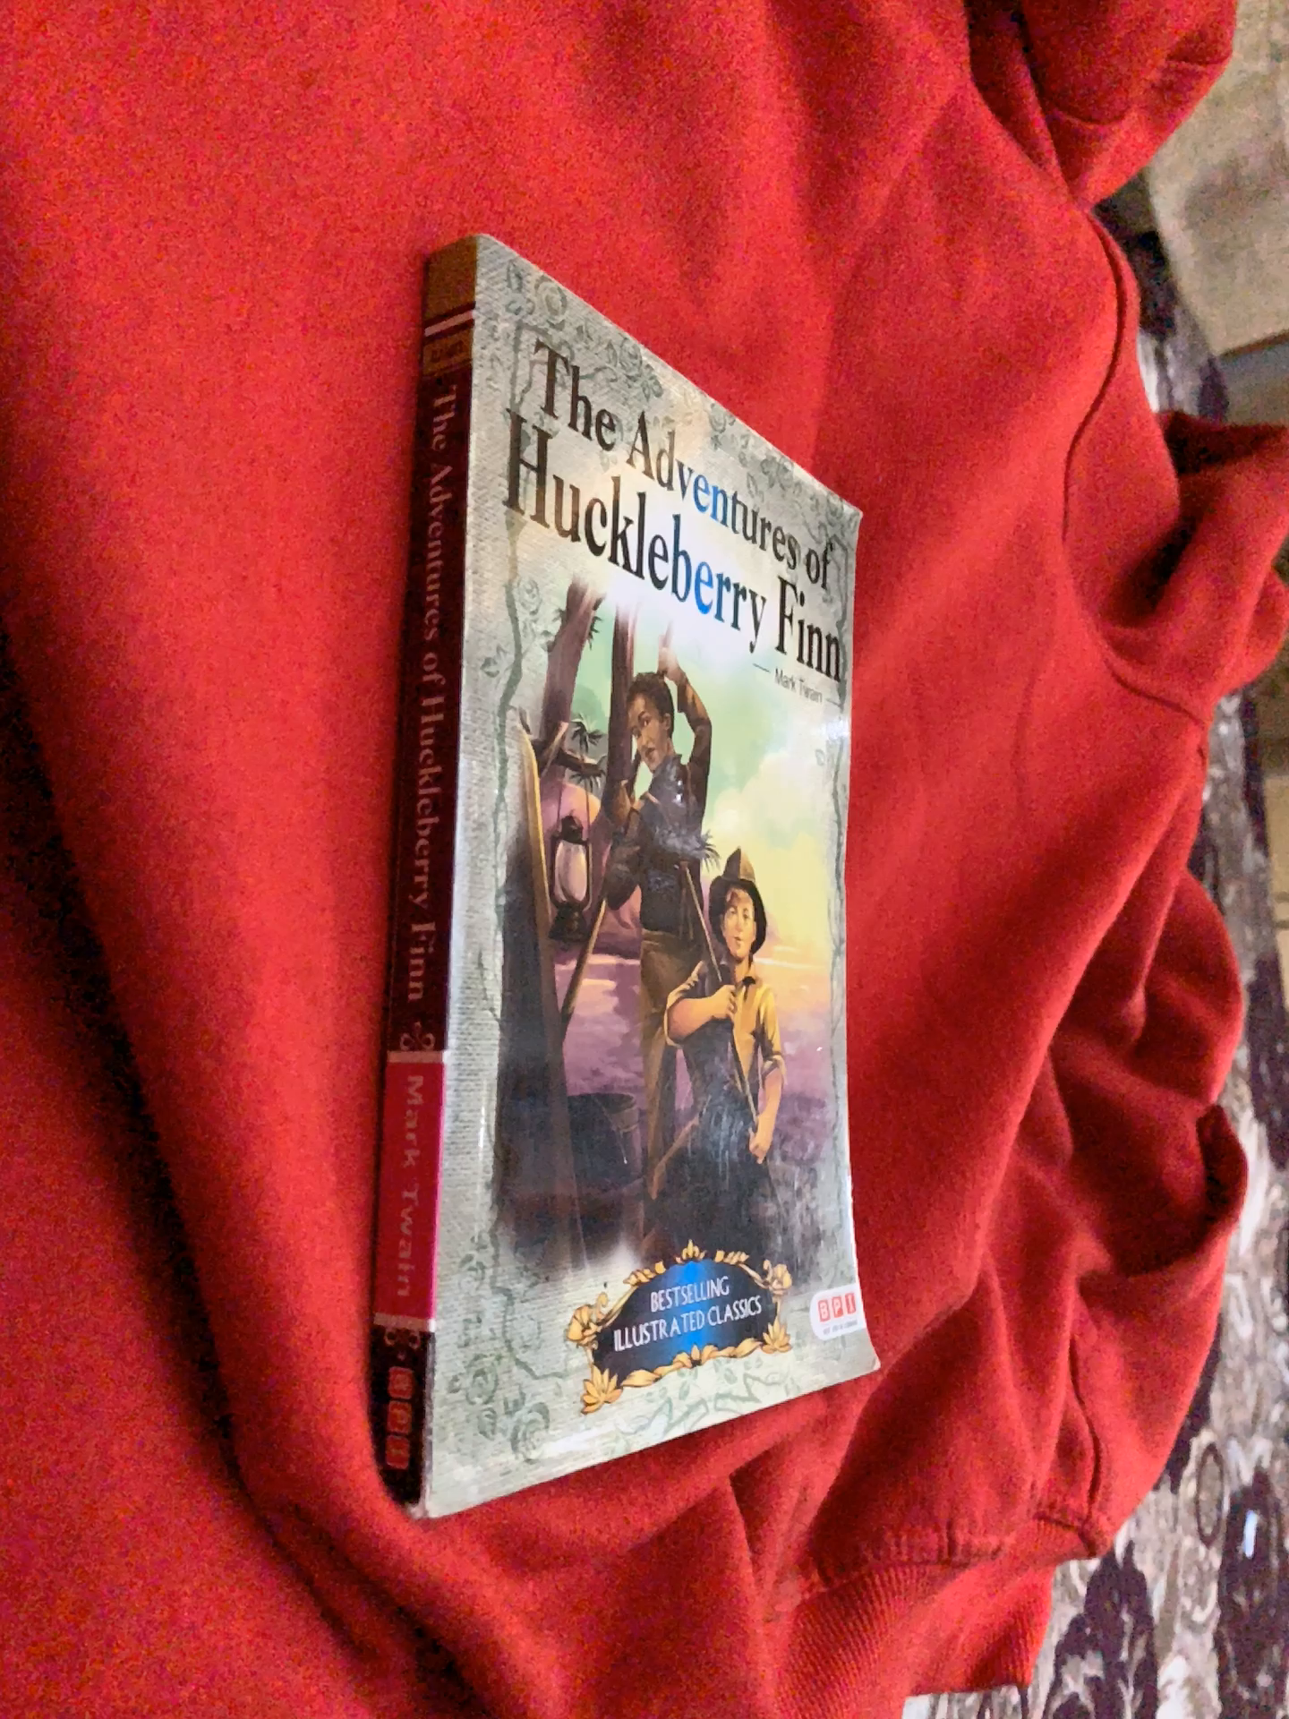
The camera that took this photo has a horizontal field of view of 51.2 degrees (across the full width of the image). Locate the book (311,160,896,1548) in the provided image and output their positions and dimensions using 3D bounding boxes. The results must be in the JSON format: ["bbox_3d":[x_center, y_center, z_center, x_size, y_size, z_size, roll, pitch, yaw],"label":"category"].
[{"bbox_3d":[0.004,0.001,0.230,0.131,0.020,0.180,14,74,-54],"label":"book"}]
